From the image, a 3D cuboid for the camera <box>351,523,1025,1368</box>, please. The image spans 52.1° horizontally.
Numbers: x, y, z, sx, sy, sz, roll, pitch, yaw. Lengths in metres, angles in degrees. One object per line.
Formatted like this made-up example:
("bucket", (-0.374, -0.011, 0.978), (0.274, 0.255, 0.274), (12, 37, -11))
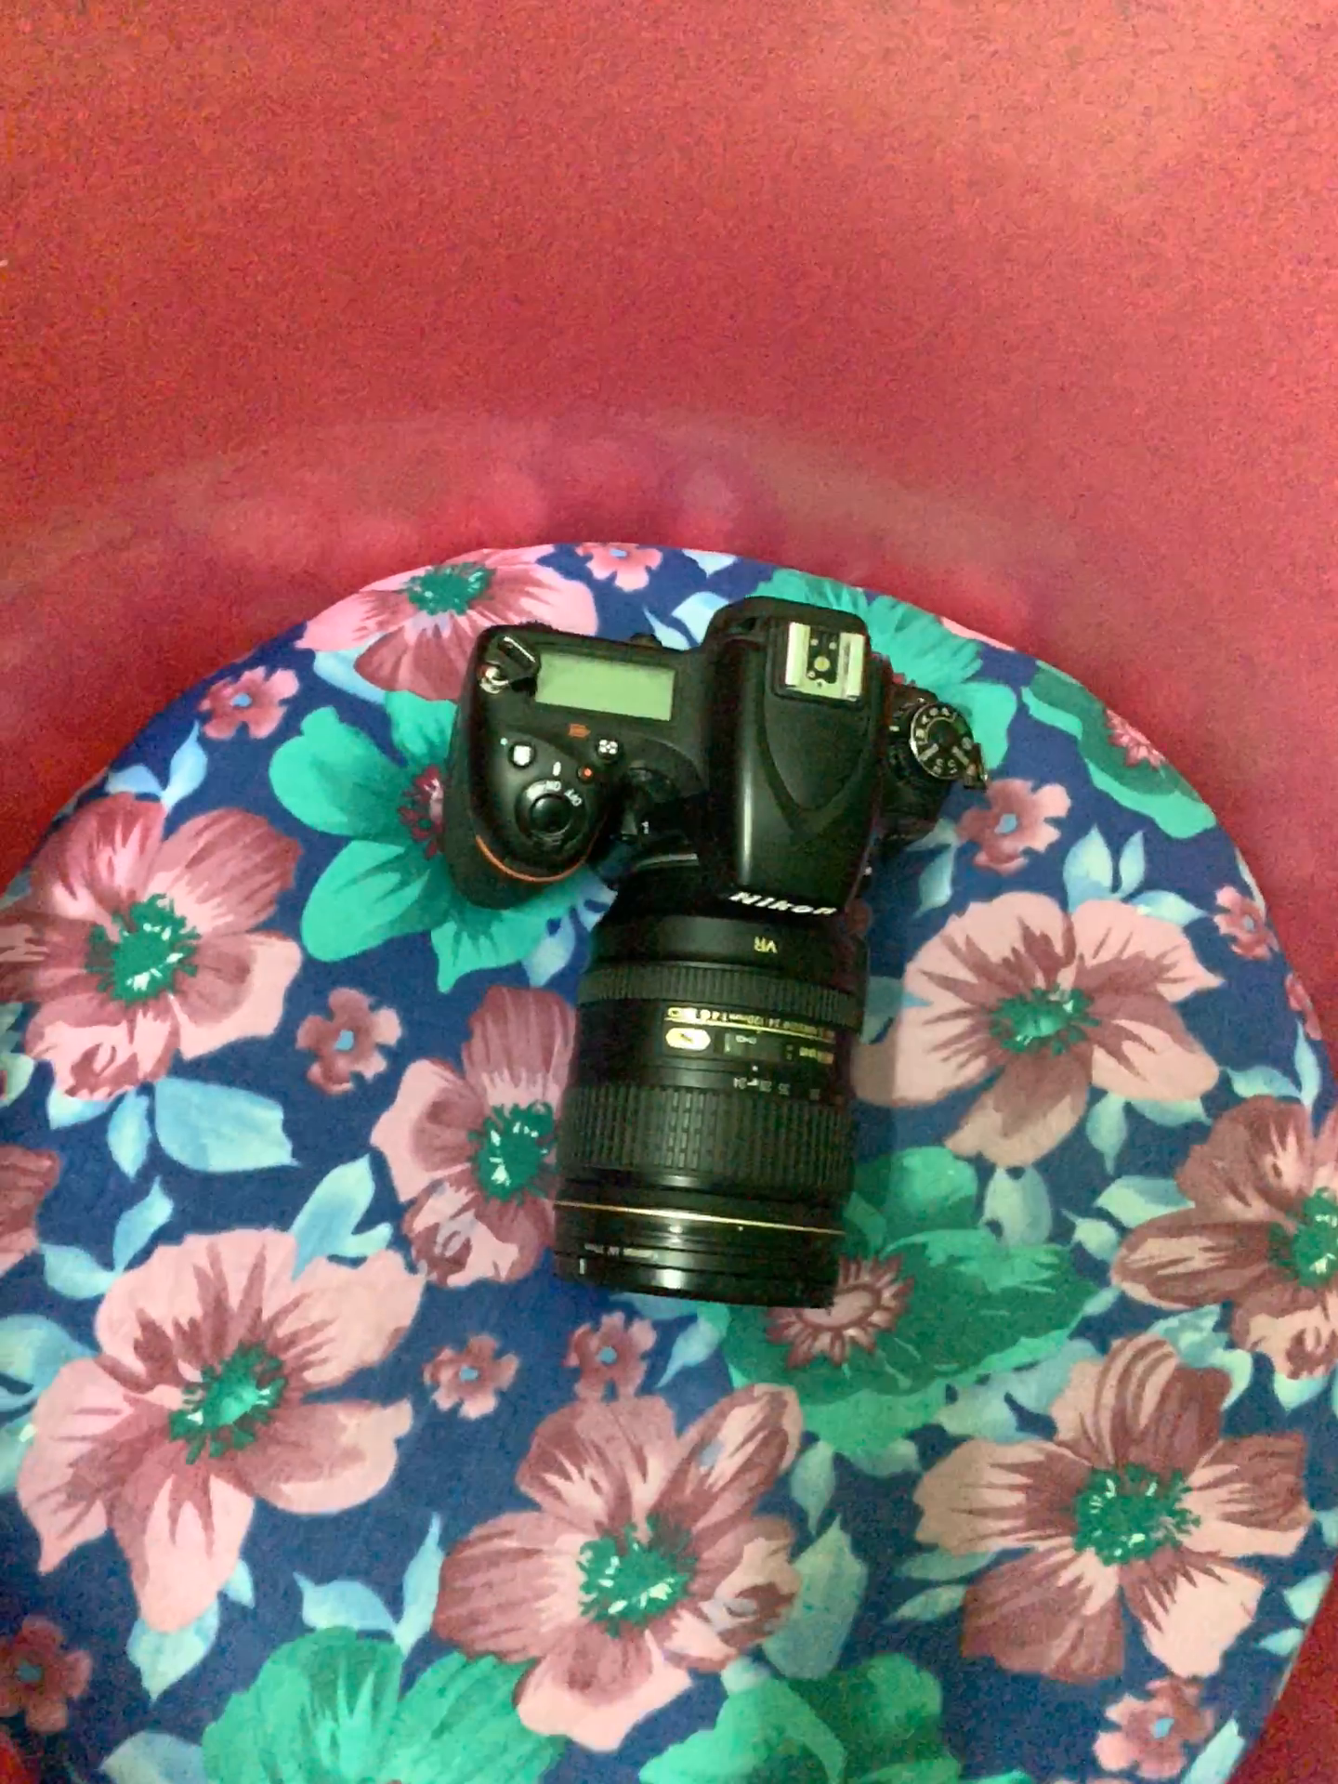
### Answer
("camera", (0.003, 0.022, 0.364), (0.140, 0.111, 0.179), (8, 74, -8))
